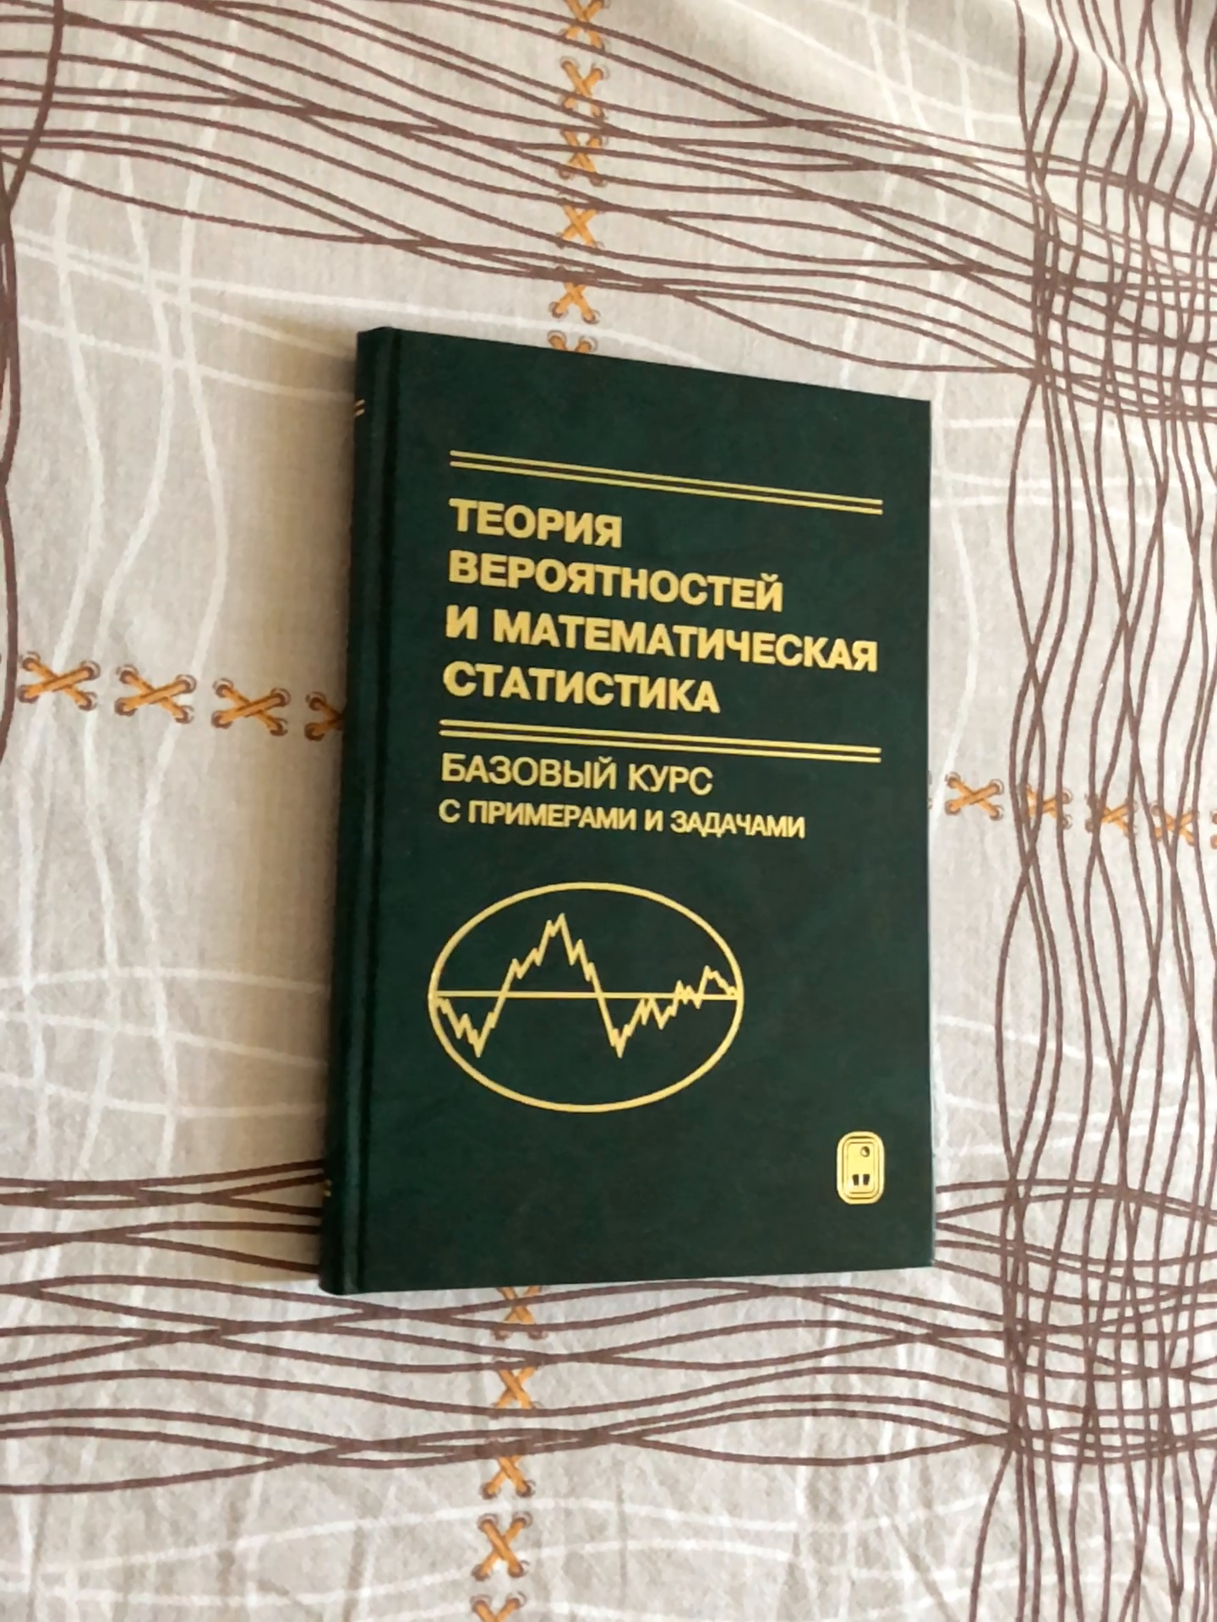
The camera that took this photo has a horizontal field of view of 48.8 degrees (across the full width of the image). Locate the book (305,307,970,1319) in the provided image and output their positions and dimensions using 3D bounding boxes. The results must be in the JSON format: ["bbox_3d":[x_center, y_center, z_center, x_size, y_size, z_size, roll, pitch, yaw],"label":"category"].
[{"bbox_3d":[0.010,0.001,0.319,0.150,0.030,0.217,3,84,-15],"label":"book"}]
